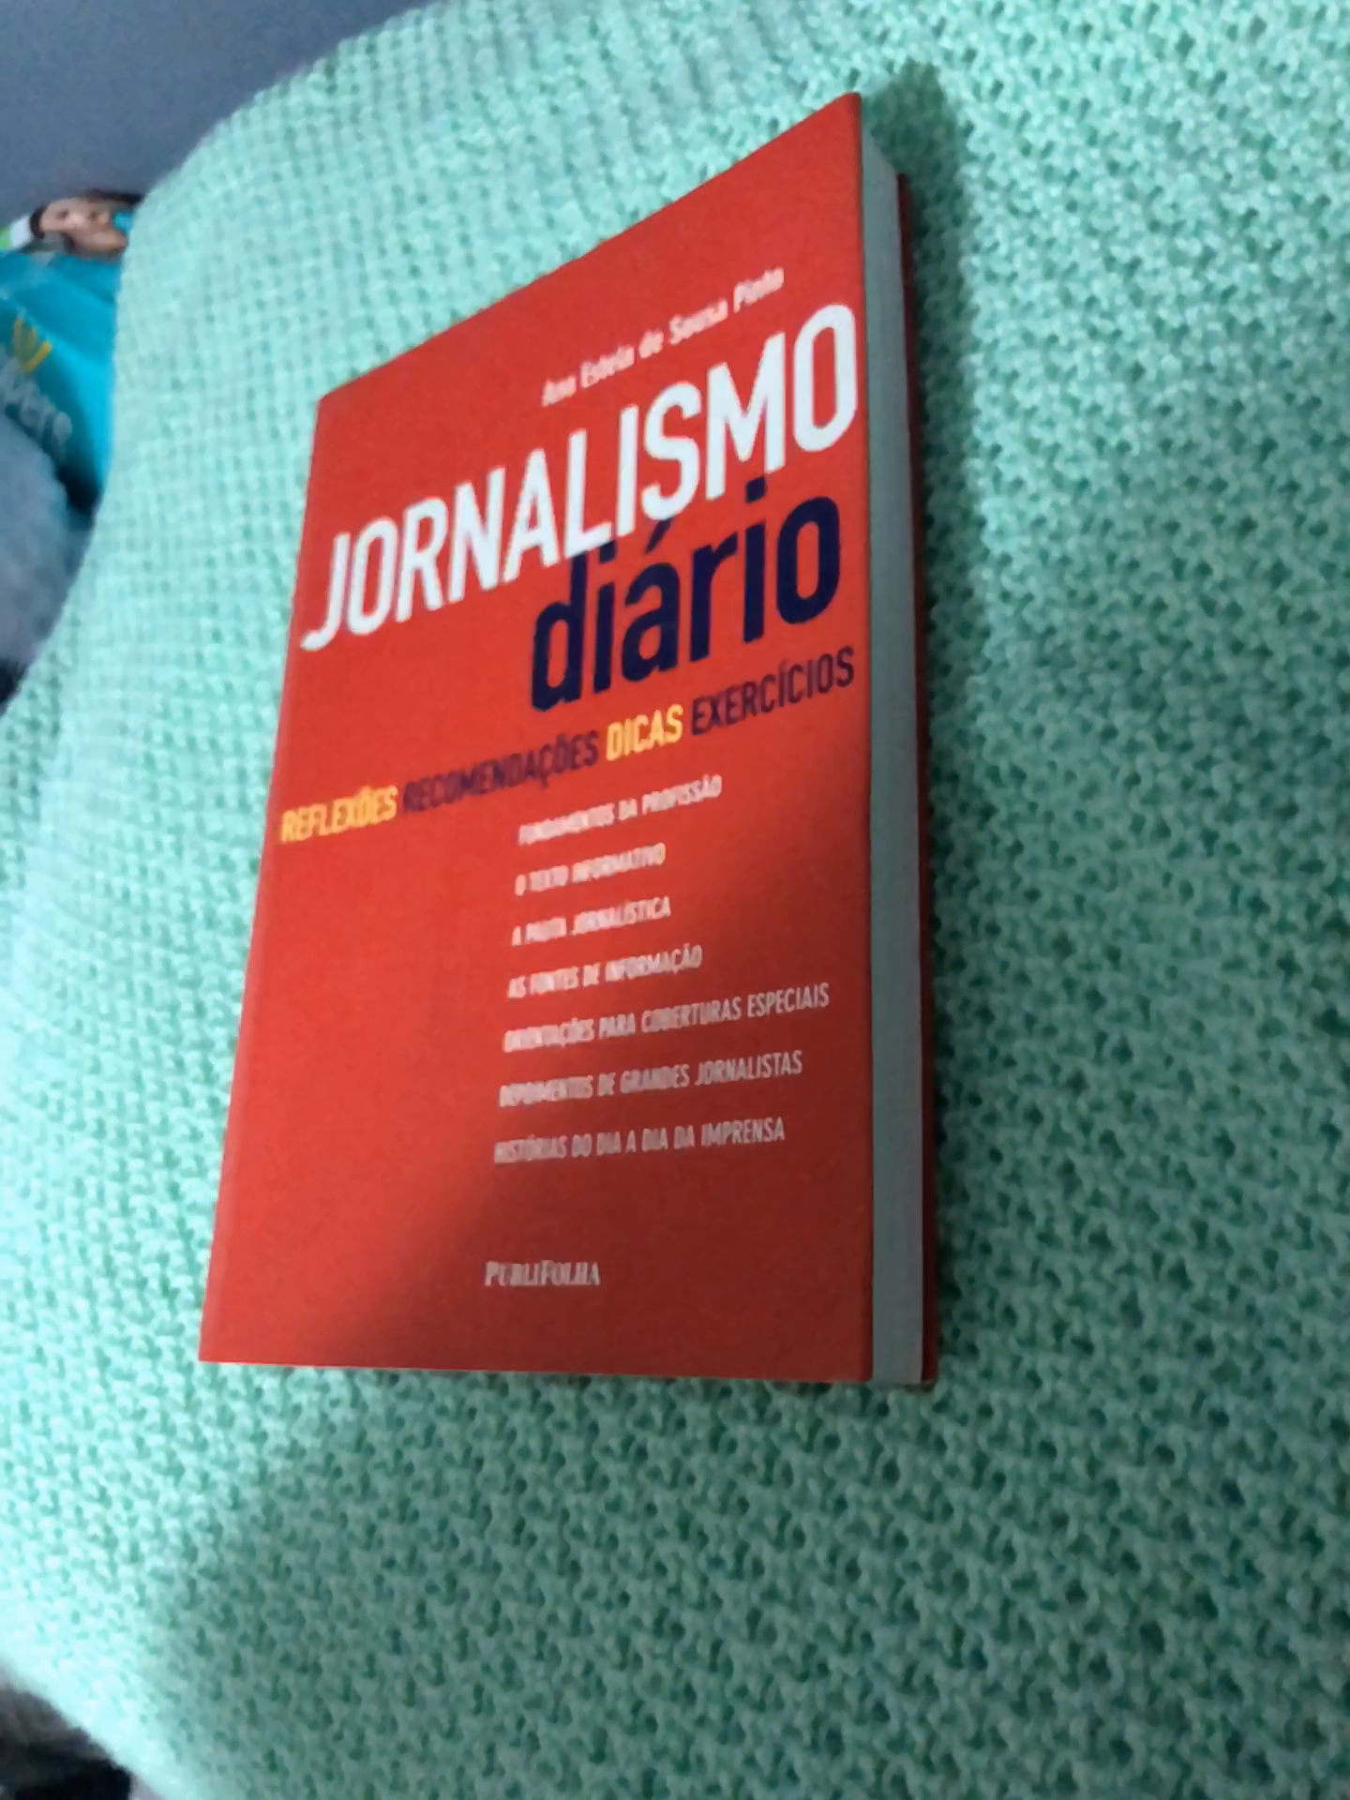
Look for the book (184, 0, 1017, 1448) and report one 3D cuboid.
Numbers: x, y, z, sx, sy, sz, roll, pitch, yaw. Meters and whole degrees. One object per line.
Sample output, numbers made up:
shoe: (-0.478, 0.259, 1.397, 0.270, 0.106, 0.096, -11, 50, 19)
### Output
book: (-0.020, -0.034, 0.286, 0.161, 0.030, 0.250, -14, 67, 40)
